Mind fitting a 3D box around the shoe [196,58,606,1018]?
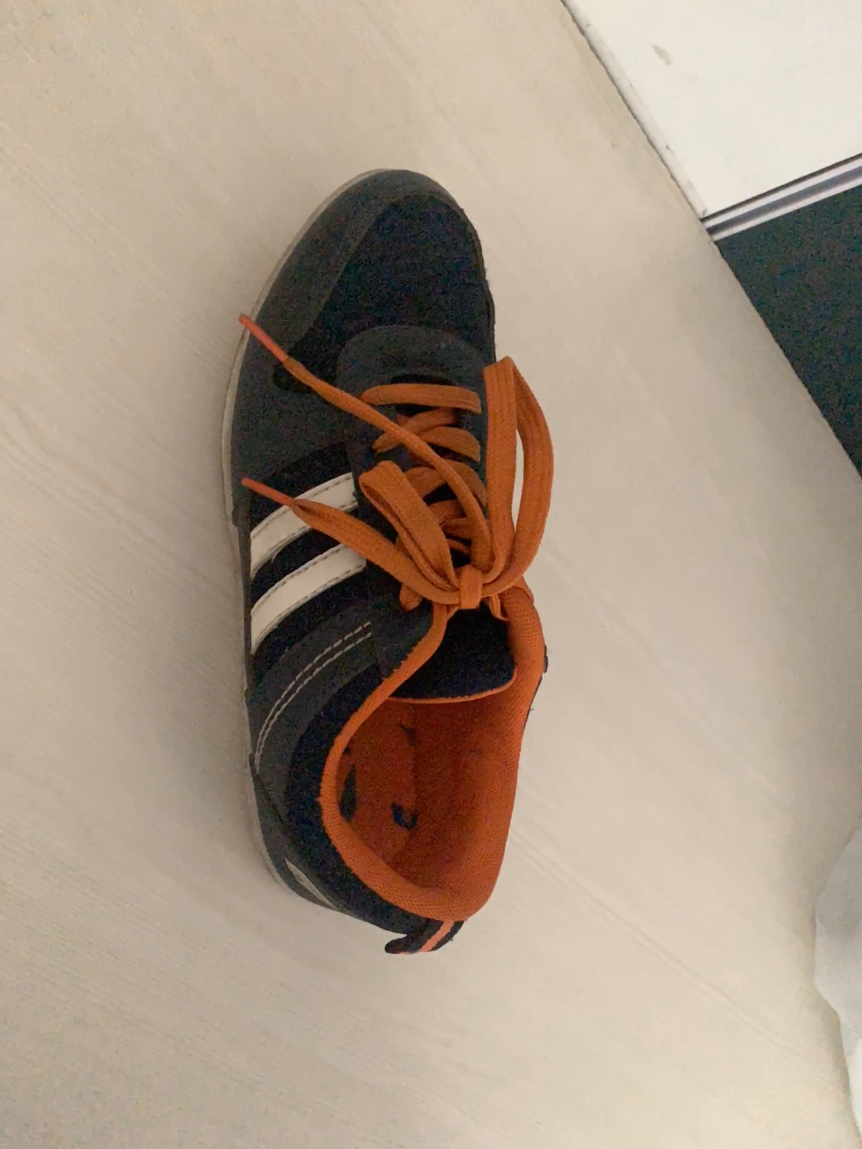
[{"bbox_3d":[-0.009,-0.009,0.292,0.100,0.080,0.250,4,86,-35],"label":"shoe"}]
